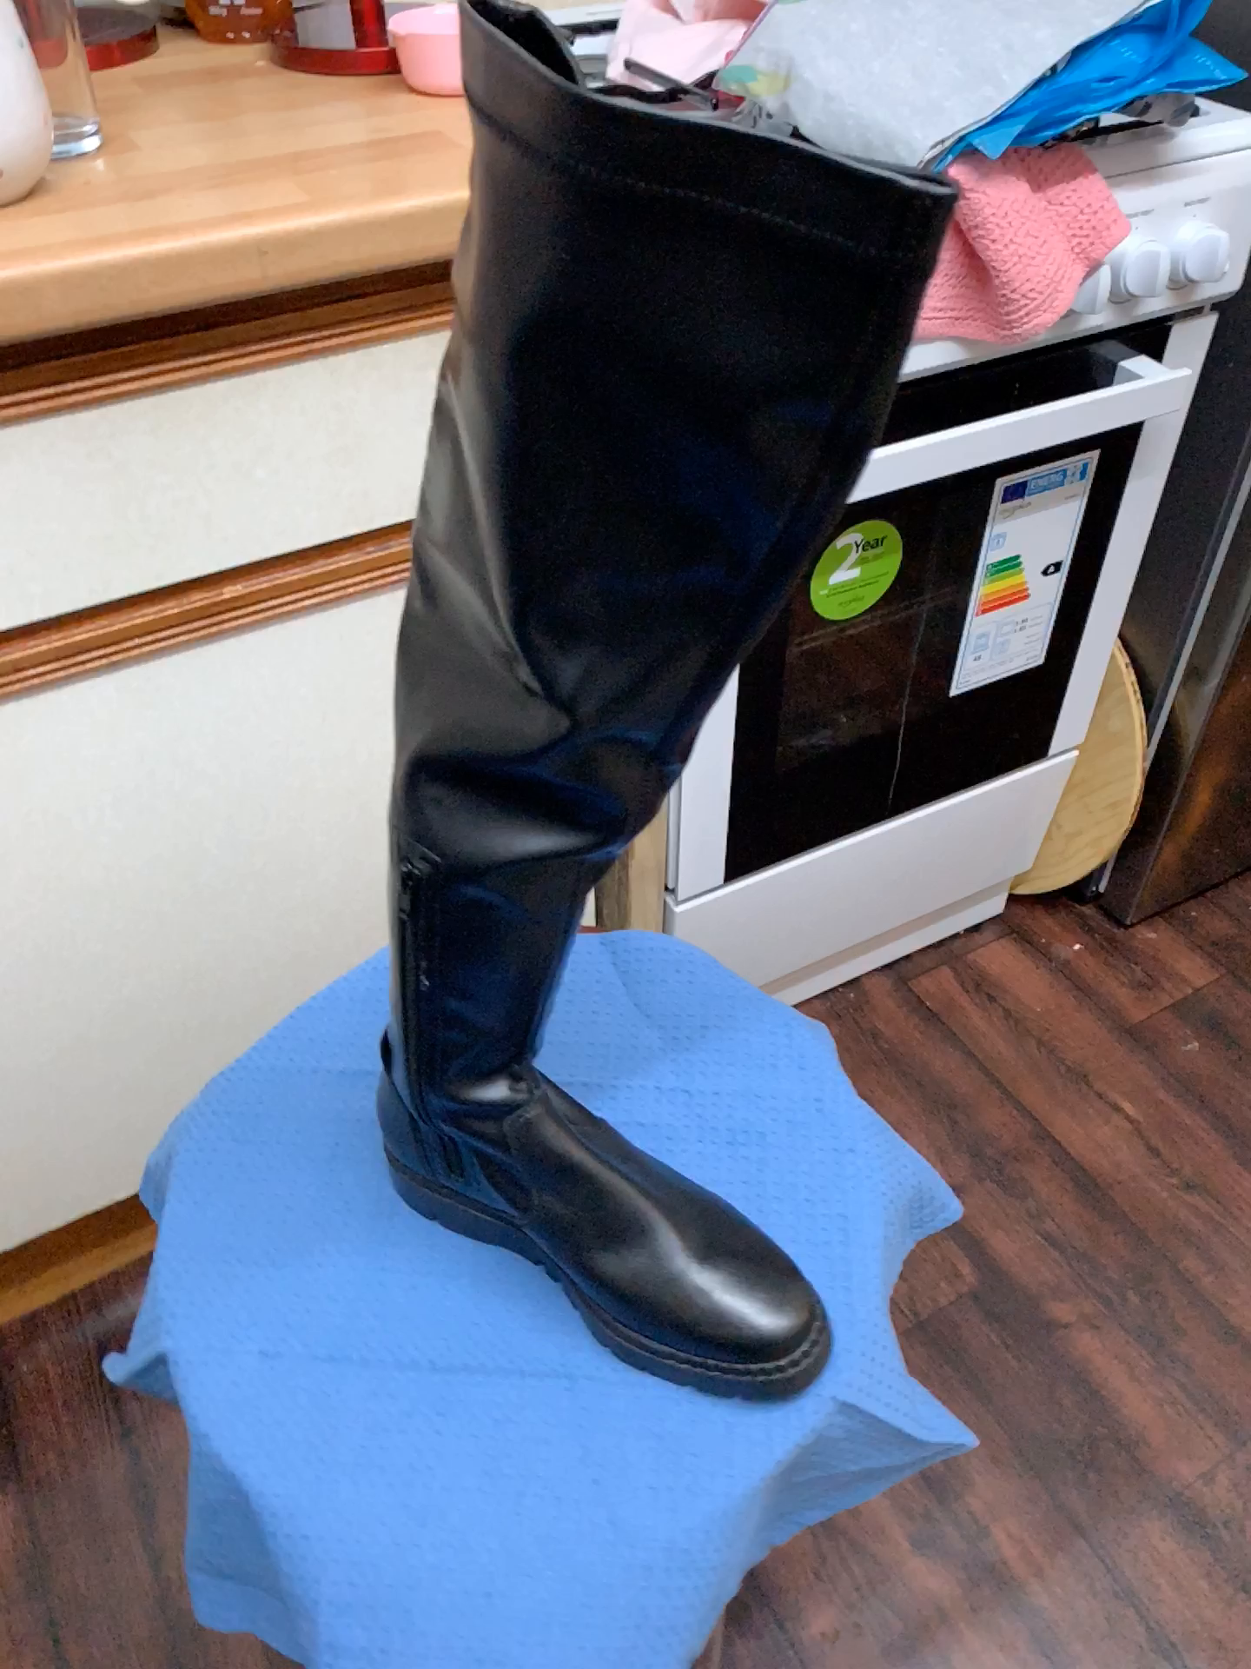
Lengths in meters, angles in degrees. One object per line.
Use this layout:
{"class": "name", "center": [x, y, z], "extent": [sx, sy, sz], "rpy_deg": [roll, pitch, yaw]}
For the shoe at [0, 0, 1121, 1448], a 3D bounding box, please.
{"class": "shoe", "center": [-0.023, 0.004, 0.493], "extent": [0.271, 0.535, 0.107], "rpy_deg": [21, 46, 23]}
